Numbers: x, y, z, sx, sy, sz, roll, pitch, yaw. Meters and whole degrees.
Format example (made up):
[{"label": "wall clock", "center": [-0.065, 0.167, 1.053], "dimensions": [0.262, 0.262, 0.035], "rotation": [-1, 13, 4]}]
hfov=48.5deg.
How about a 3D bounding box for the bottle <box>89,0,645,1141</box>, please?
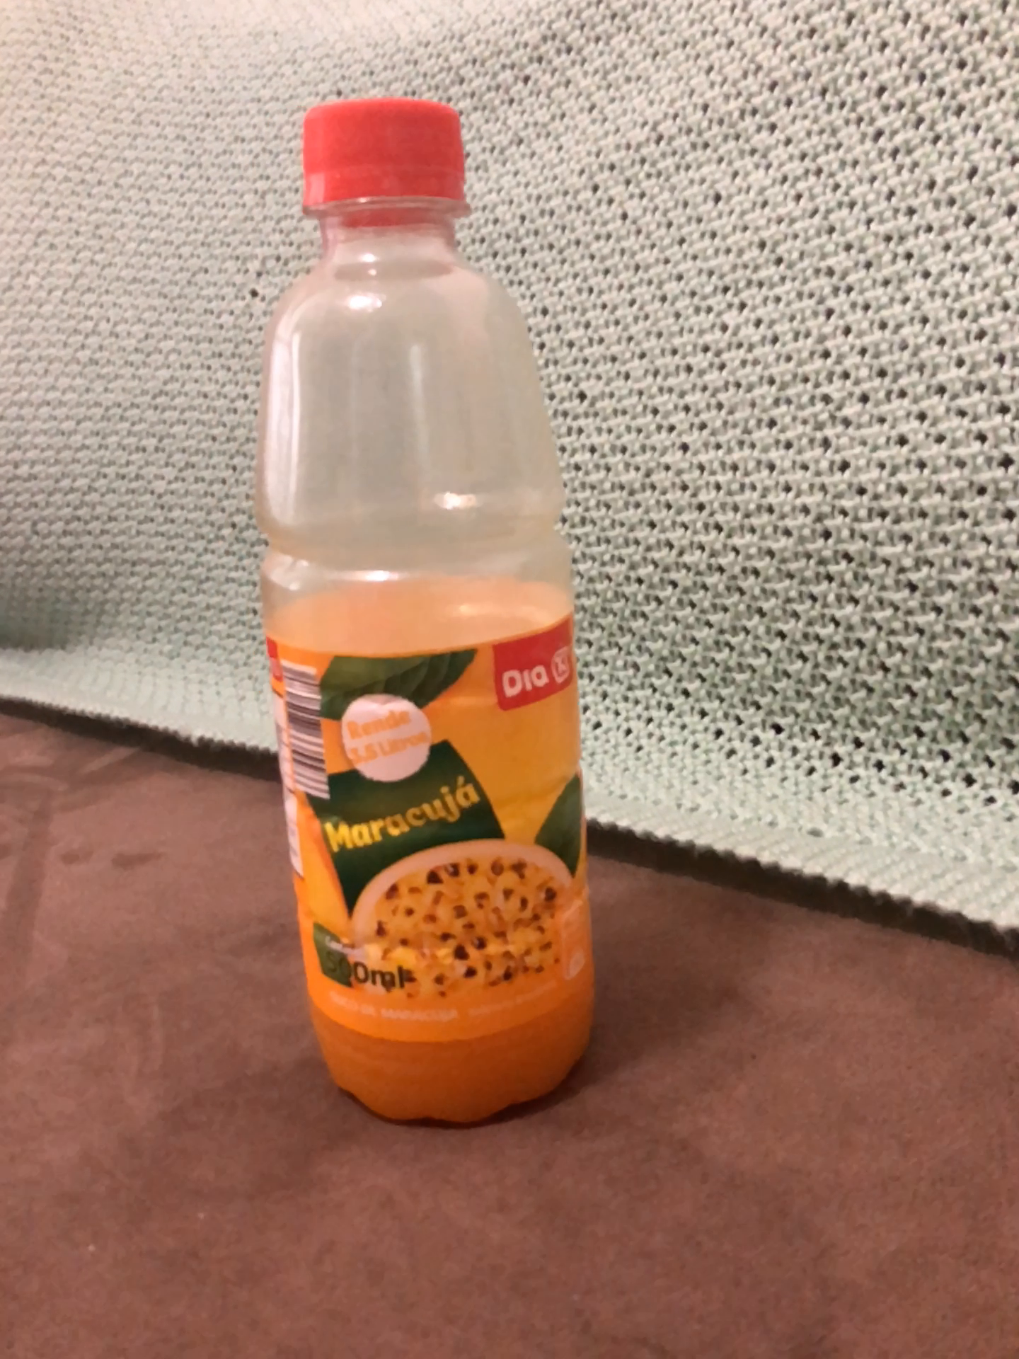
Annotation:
[{"label": "bottle", "center": [-0.017, -0.017, 0.240], "dimensions": [0.080, 0.199, 0.080], "rotation": [-4, 14, 1]}]
